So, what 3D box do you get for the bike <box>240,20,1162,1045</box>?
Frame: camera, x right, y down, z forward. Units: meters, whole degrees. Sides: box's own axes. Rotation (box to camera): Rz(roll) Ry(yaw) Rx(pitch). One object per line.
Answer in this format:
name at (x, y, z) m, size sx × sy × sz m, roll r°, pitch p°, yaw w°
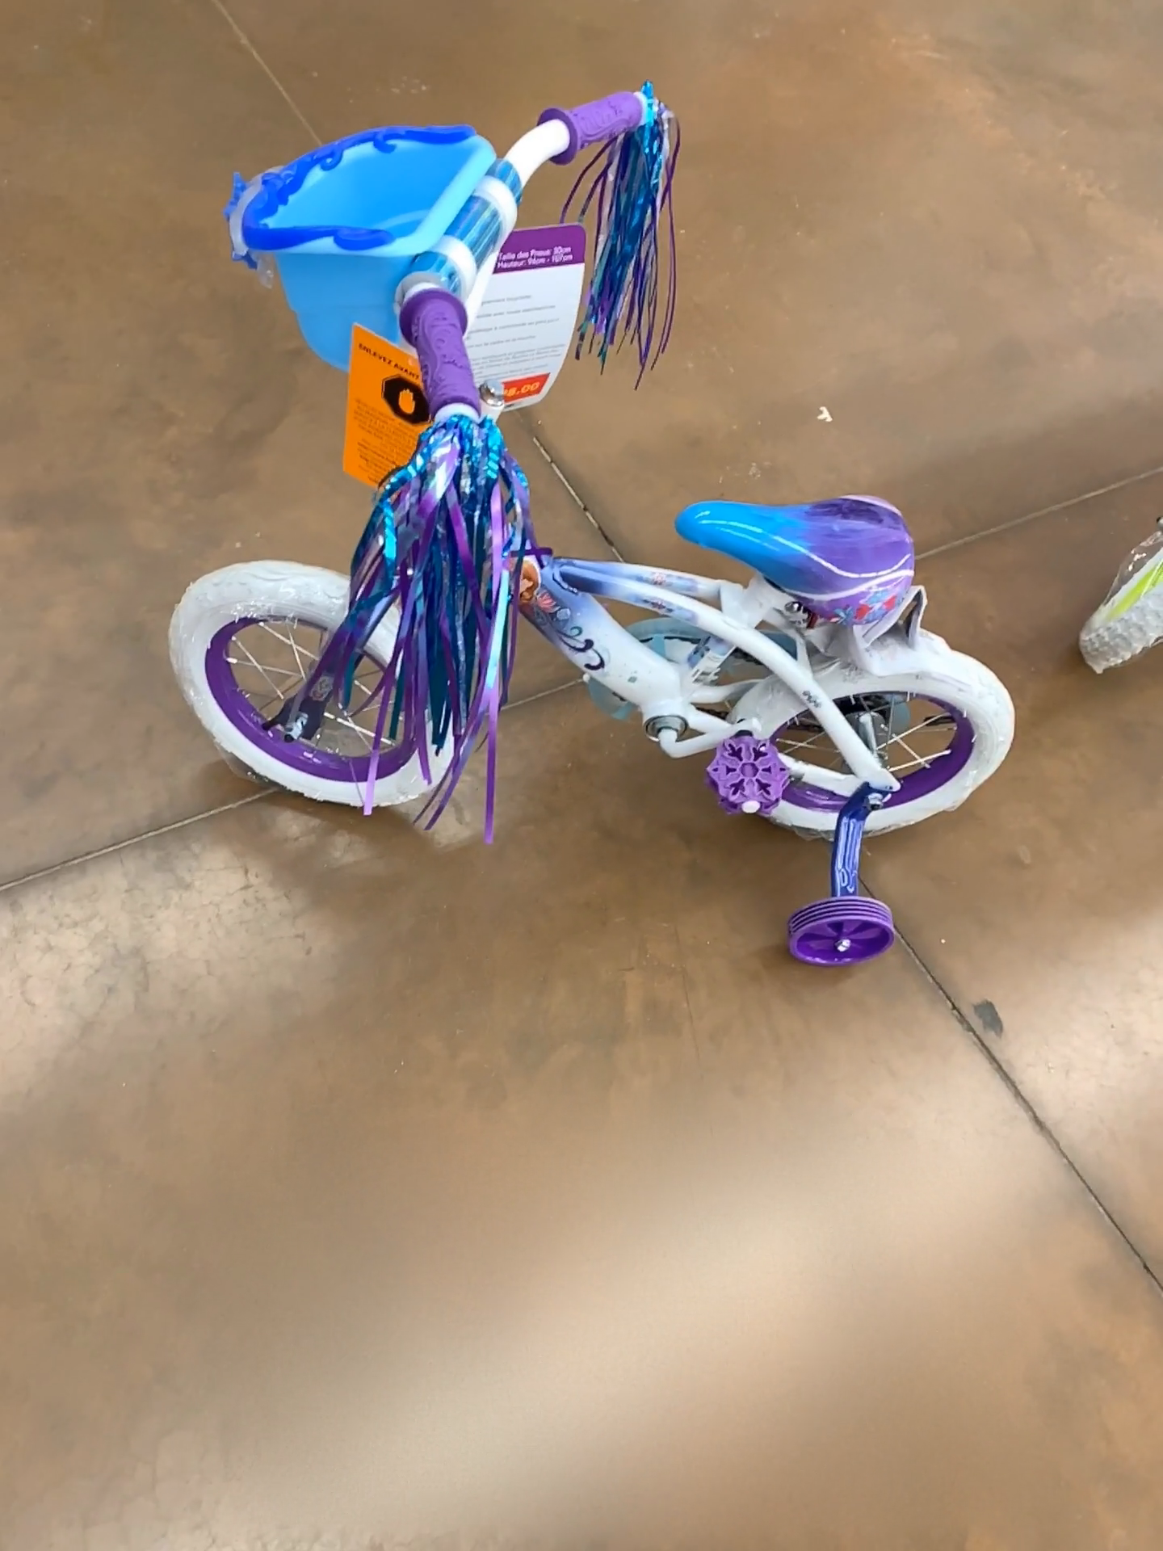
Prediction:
bike at (0.125, -0.132, 0.990) m, size 0.651 × 0.643 × 0.474 m, roll 2°, pitch 56°, yaw -10°
